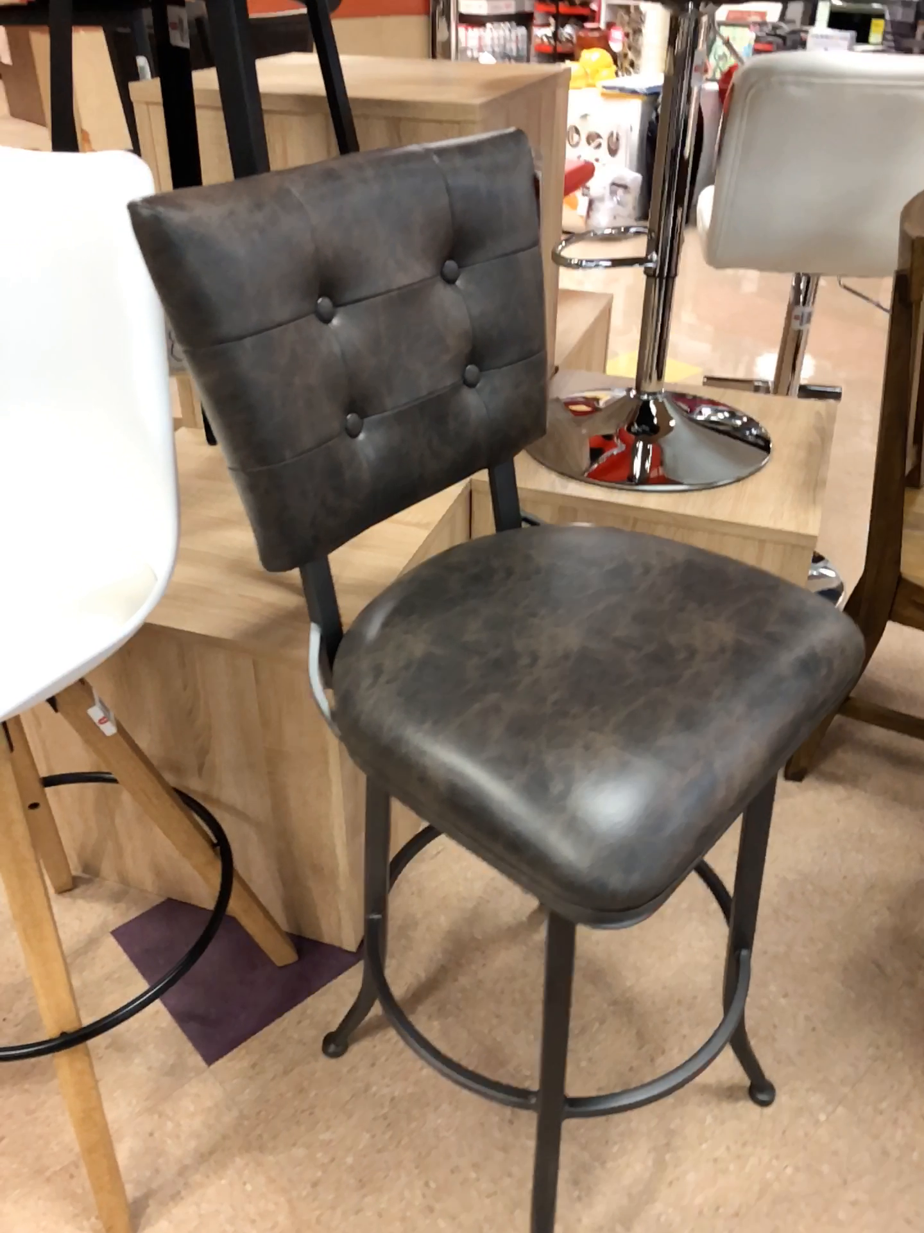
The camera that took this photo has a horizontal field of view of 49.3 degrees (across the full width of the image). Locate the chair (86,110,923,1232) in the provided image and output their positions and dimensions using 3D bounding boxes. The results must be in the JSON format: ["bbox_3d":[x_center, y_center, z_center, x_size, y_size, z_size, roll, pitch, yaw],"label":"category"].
[{"bbox_3d":[0.100,0.143,1.051,0.513,1.108,0.519,27,43,34],"label":"chair"}]
